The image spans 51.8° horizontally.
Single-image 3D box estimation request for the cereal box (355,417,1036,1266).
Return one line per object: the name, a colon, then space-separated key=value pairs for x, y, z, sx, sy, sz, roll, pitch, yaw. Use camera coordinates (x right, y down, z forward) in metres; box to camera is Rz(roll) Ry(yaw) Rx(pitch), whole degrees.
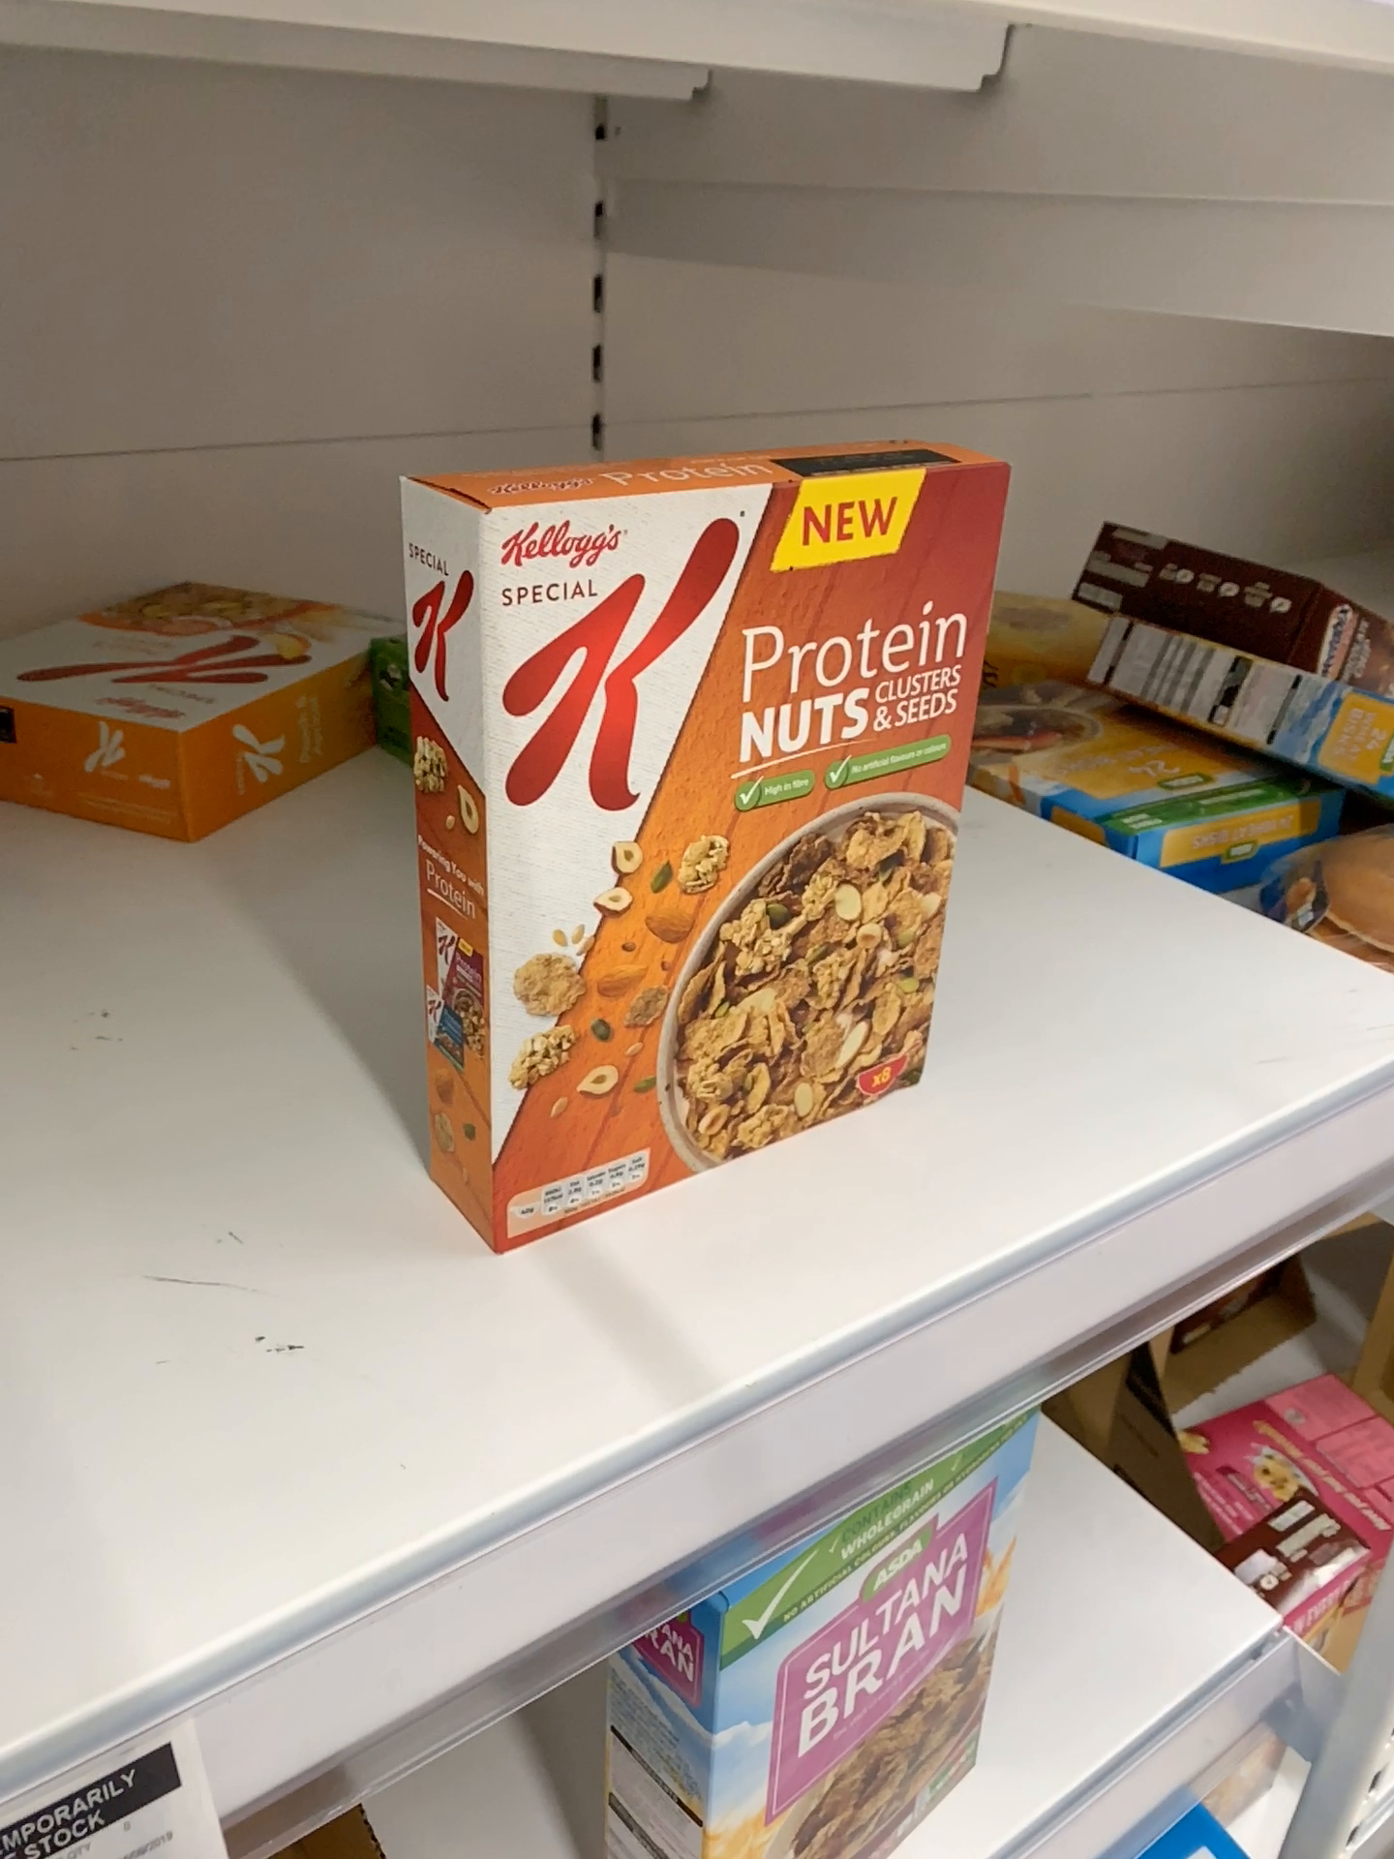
cereal box: x=0.001 y=-0.037 z=0.482 sx=0.201 sy=0.238 sz=0.070 roll=-16 pitch=32 yaw=-32
